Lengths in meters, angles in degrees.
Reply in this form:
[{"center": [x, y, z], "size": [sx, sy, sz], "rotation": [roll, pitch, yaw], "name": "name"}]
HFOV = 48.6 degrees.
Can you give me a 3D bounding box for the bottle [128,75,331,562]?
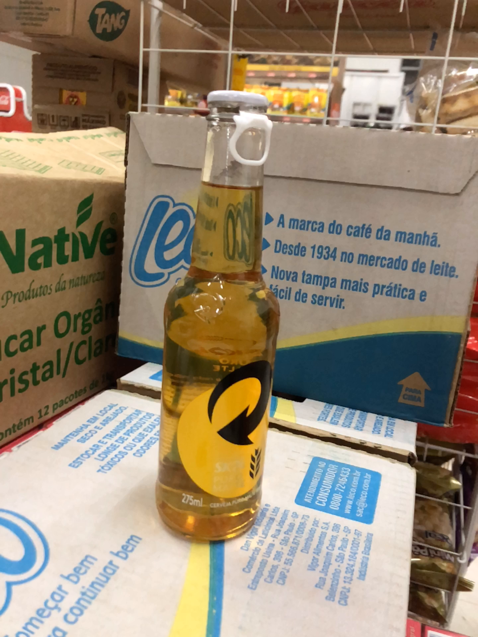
[{"center": [-0.010, 0.001, 0.259], "size": [0.060, 0.209, 0.060], "rotation": [4, 16, -1], "name": "bottle"}]
